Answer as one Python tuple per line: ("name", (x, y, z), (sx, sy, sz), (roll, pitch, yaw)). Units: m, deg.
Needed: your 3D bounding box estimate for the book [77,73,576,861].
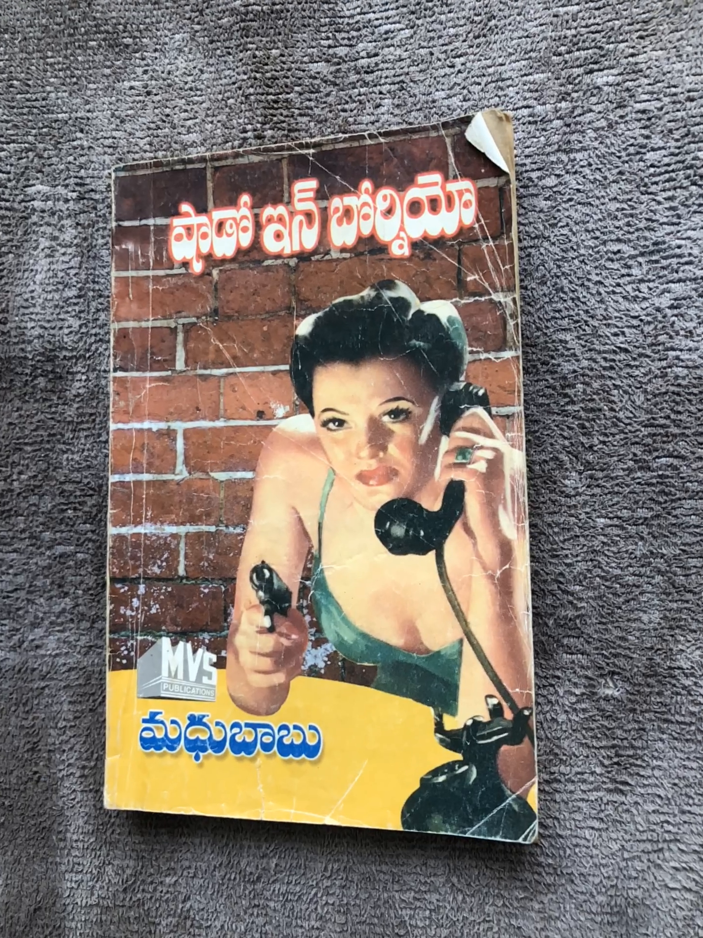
("book", (-0.005, -0.001, 0.179), (0.100, 0.040, 0.150), (-1, 86, 11))
